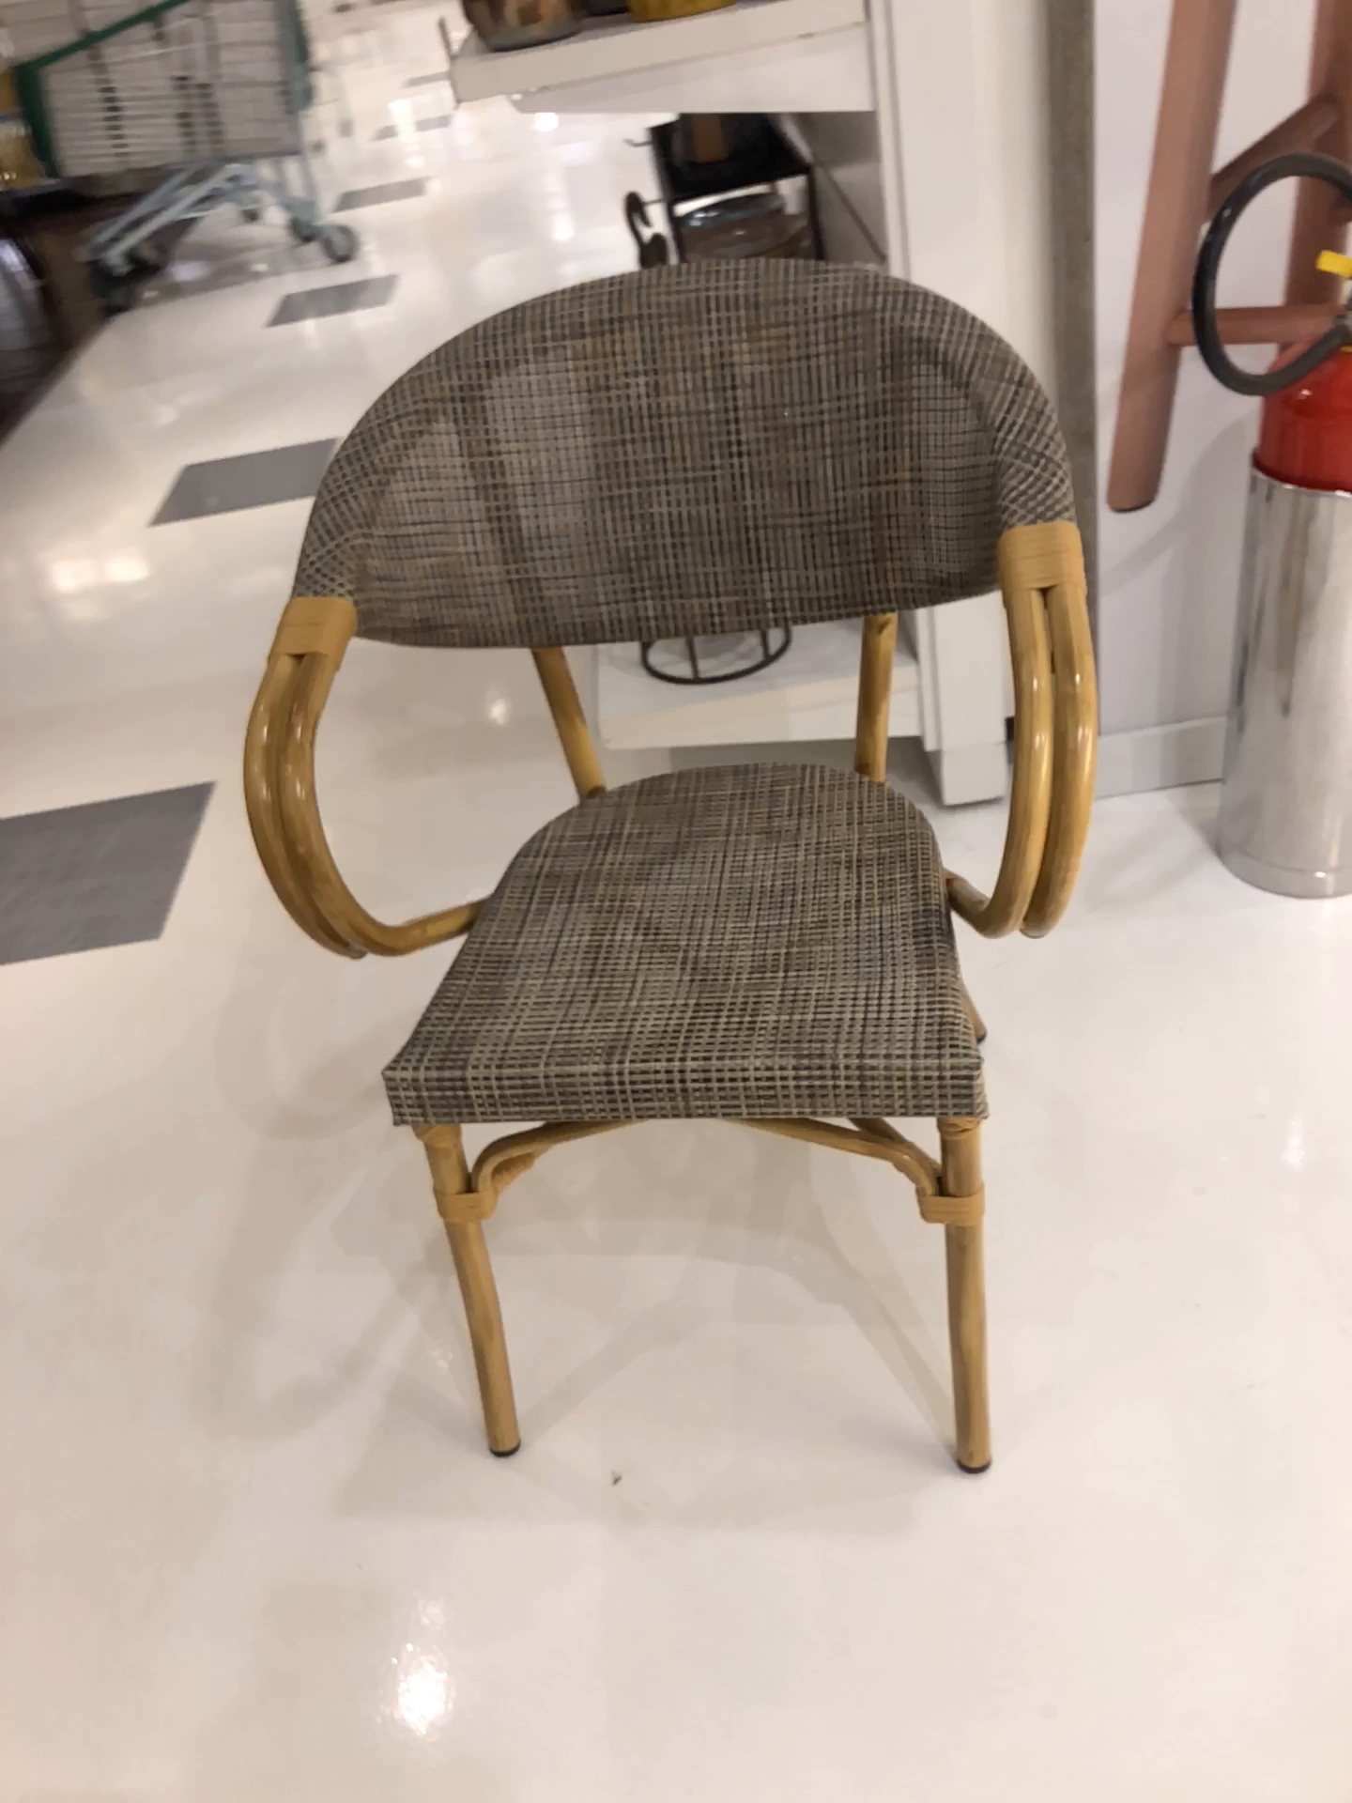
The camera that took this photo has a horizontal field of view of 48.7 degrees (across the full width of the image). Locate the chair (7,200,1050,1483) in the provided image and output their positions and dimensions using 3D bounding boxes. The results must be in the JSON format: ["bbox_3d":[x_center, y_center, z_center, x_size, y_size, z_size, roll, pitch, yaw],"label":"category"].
[{"bbox_3d":[0.004,-0.032,1.187,0.520,0.783,0.575,-3,37,12],"label":"chair"}]
